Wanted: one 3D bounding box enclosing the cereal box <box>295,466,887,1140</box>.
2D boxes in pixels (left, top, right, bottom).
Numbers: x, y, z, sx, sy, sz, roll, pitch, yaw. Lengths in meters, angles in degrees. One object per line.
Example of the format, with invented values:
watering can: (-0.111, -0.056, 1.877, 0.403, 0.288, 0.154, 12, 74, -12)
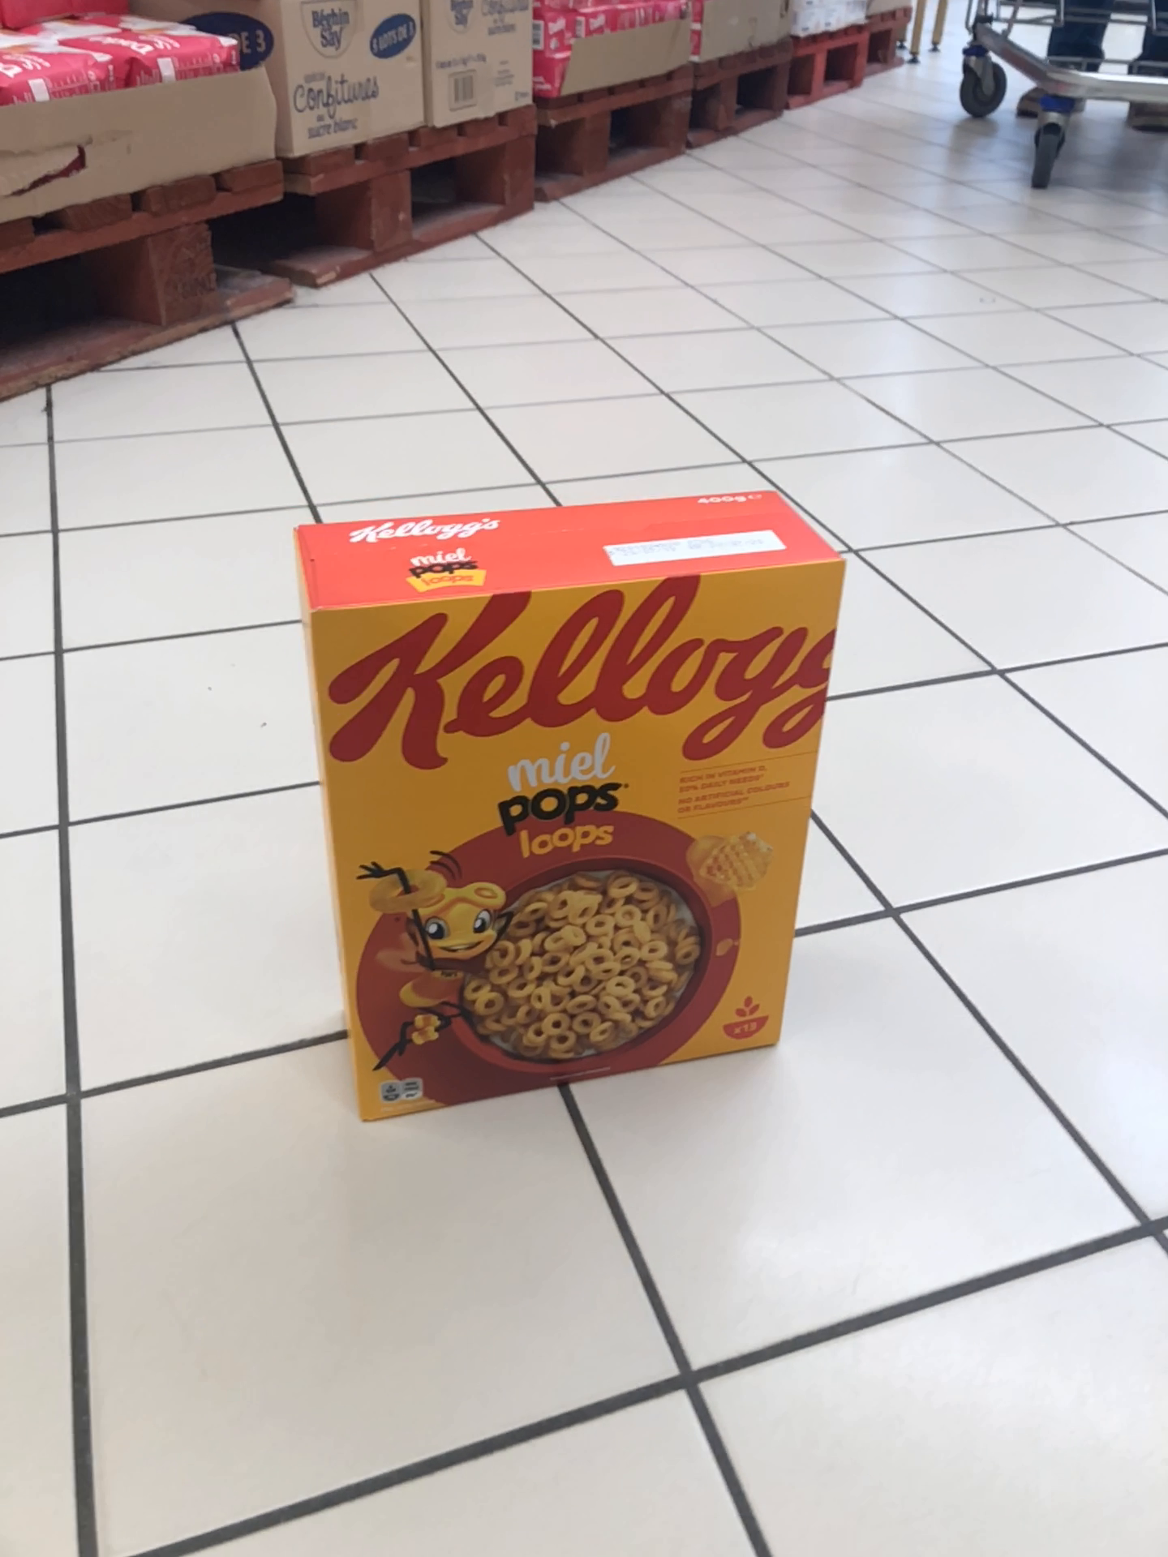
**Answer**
cereal box: (-0.004, 0.012, 0.516, 0.190, 0.238, 0.090, -8, 35, -15)
